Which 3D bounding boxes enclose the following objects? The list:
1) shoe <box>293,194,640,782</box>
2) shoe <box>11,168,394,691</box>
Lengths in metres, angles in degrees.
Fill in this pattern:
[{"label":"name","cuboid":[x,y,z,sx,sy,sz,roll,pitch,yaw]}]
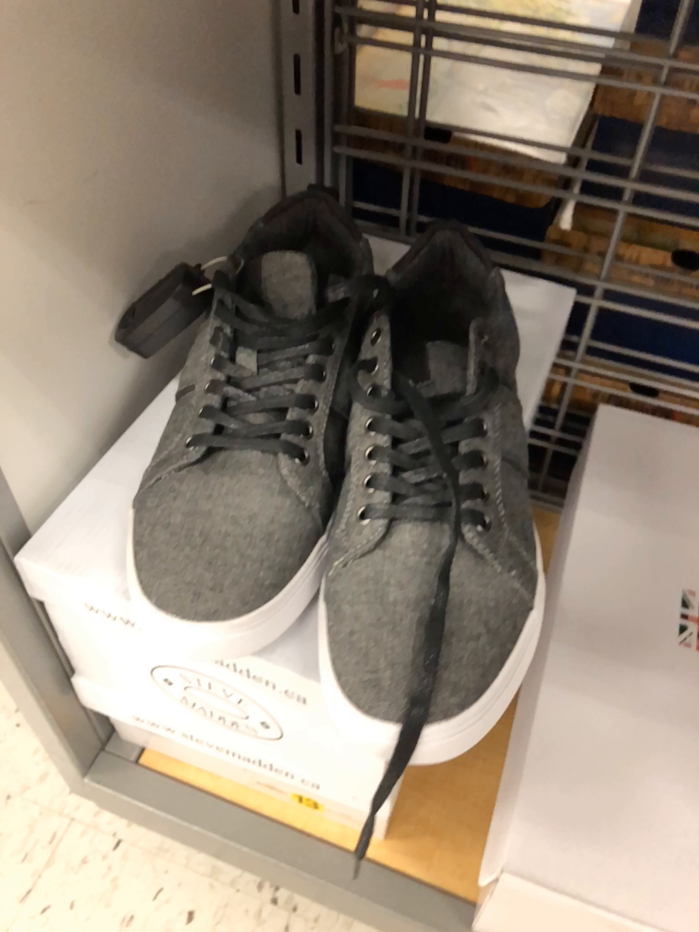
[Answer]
[{"label":"shoe","cuboid":[0.047,-0.011,0.369,0.107,0.099,0.272,5,48,2]},{"label":"shoe","cuboid":[-0.049,-0.037,0.397,0.107,0.099,0.262,8,48,5]}]
